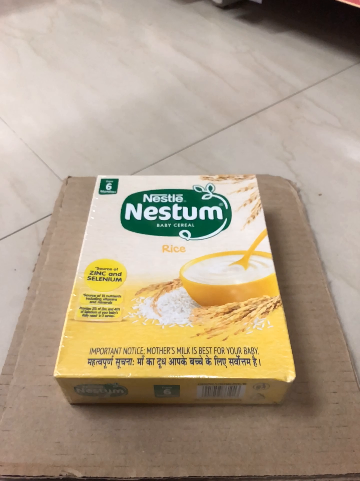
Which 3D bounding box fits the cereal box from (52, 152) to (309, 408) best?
[{"bbox_3d":[0.001,0.017,0.327,0.150,0.060,0.211,1,48,0],"label":"cereal box"}]
